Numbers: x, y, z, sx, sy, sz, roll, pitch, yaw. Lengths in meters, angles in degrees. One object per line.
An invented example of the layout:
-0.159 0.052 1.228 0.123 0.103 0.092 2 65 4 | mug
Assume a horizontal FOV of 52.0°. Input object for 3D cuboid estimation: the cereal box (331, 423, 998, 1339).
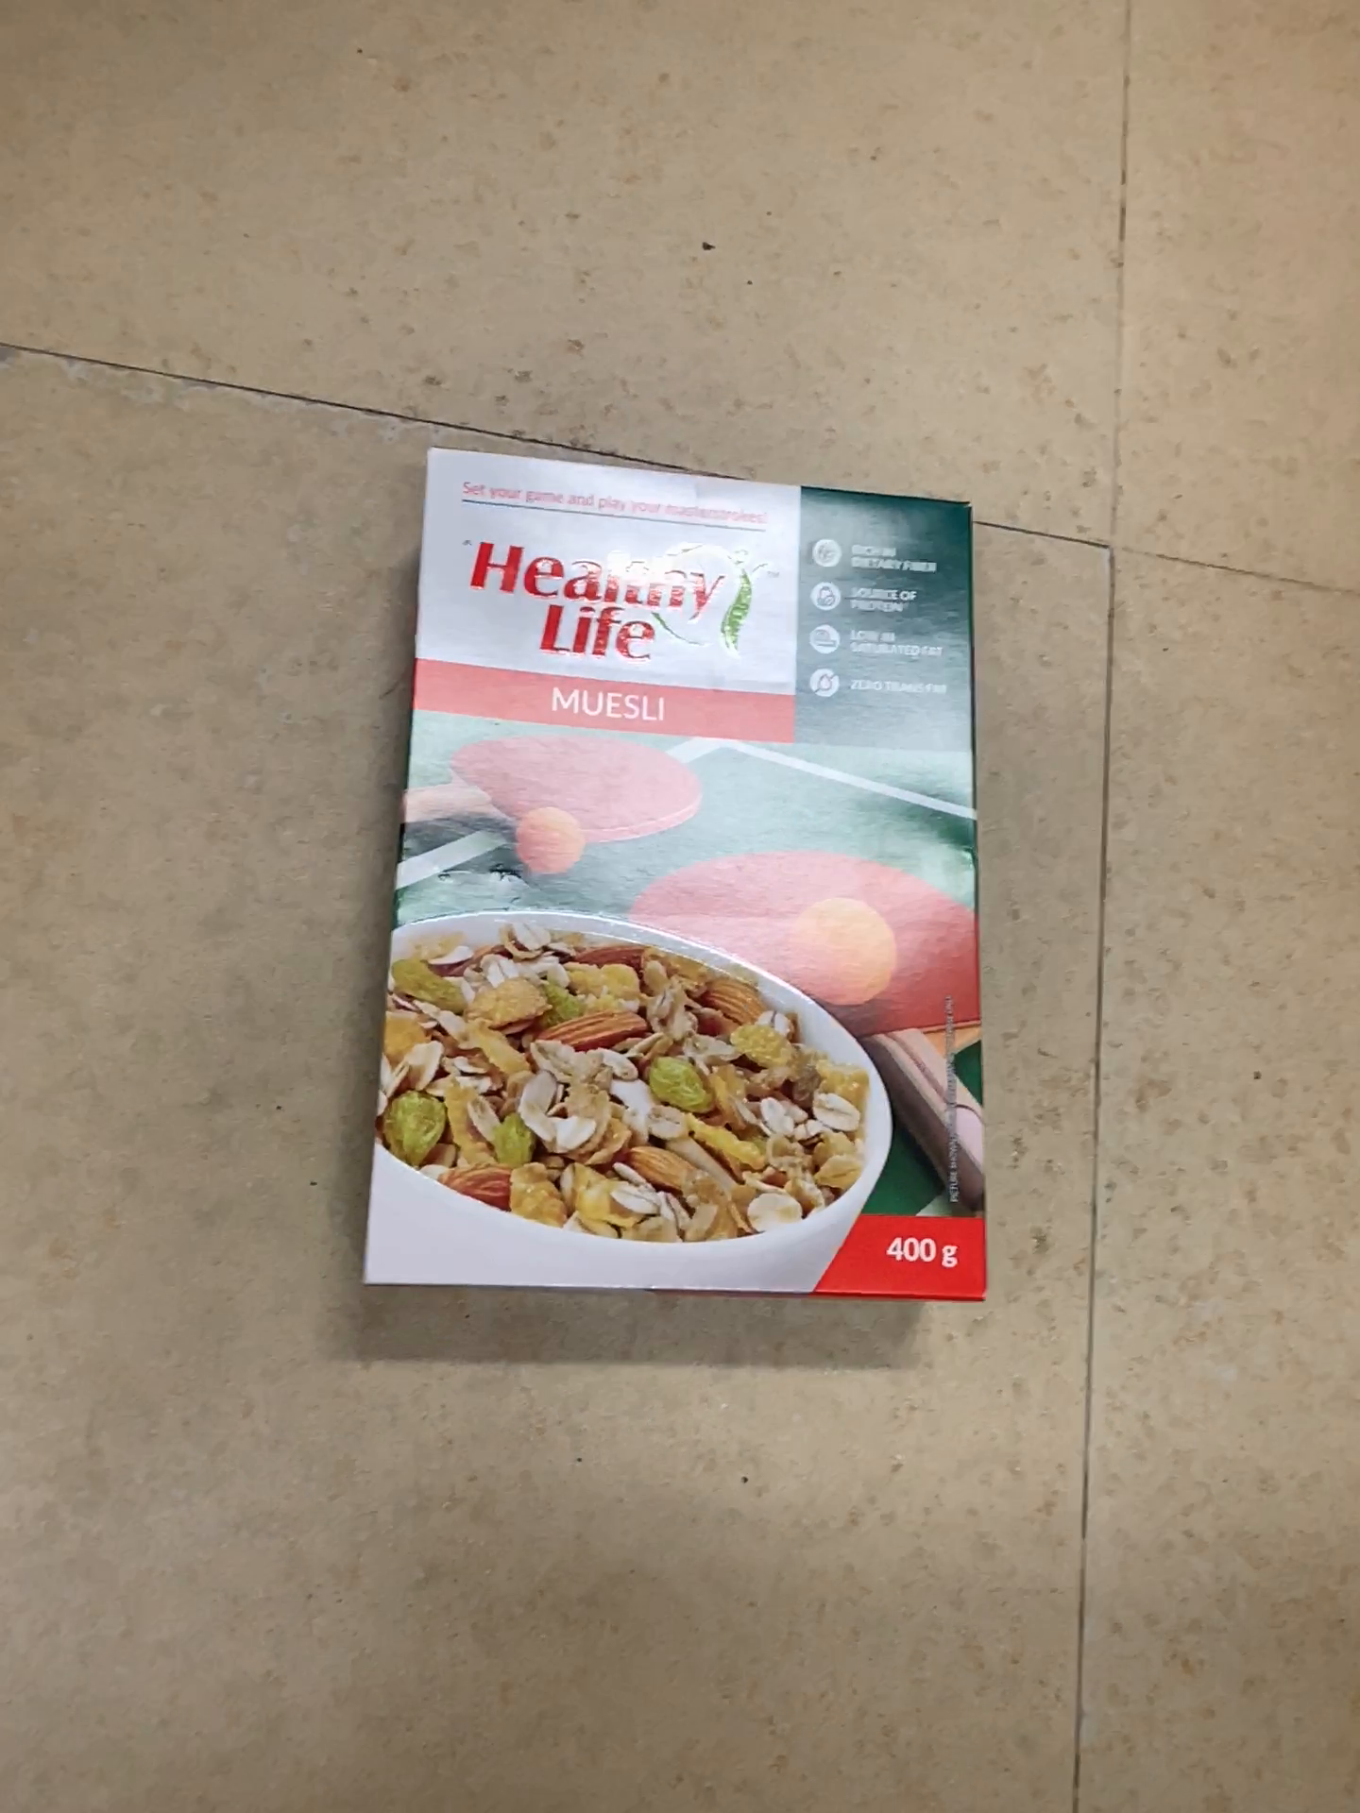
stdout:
-0.004 -0.002 0.394 0.160 0.080 0.230 4 77 -10 | cereal box
